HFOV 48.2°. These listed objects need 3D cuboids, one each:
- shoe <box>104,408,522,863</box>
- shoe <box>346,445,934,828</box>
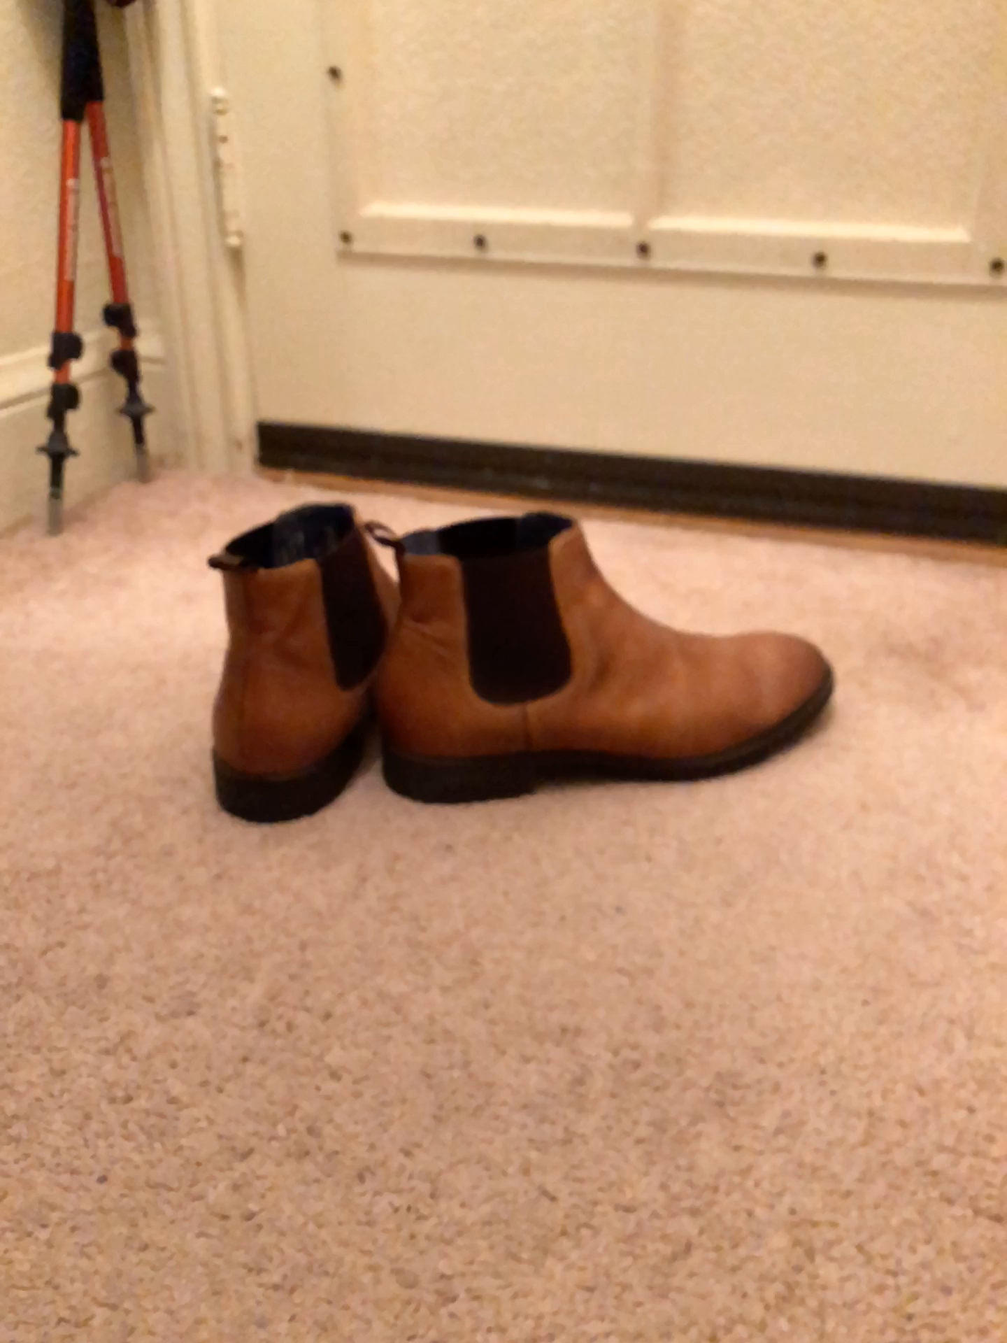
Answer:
[{"bbox_3d":[-0.096,-0.045,0.725,0.109,0.165,0.314,11,29,19],"label":"shoe"},{"bbox_3d":[0.074,-0.029,0.673,0.312,0.165,0.110,-7,28,-13],"label":"shoe"}]
